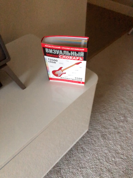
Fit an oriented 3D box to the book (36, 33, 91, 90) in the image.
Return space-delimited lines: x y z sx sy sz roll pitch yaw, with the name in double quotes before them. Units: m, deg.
"book" -0.004 -0.084 0.496 0.150 0.179 0.060 6 51 7
